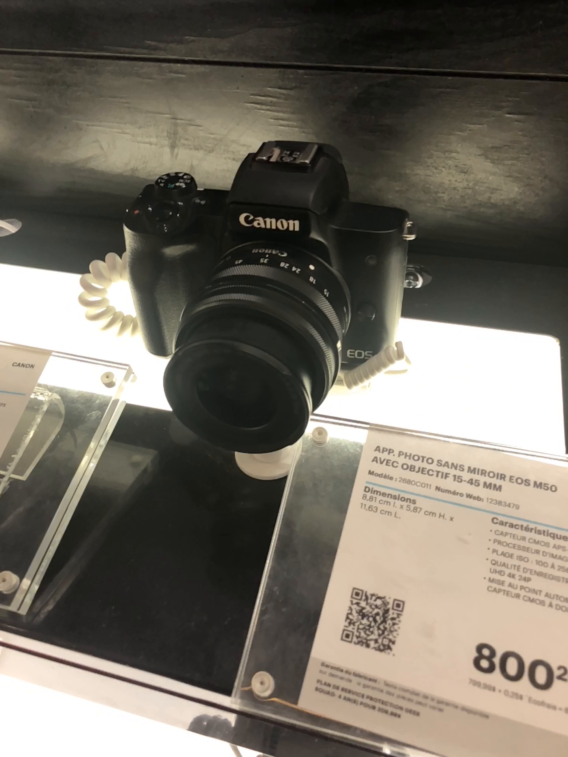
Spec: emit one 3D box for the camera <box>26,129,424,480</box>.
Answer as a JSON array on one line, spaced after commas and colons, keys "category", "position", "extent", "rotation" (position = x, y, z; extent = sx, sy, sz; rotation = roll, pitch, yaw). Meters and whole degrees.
[{"category": "camera", "position": [-0.012, -0.037, 0.259], "extent": [0.119, 0.089, 0.101], "rotation": [9, 41, 13]}]
